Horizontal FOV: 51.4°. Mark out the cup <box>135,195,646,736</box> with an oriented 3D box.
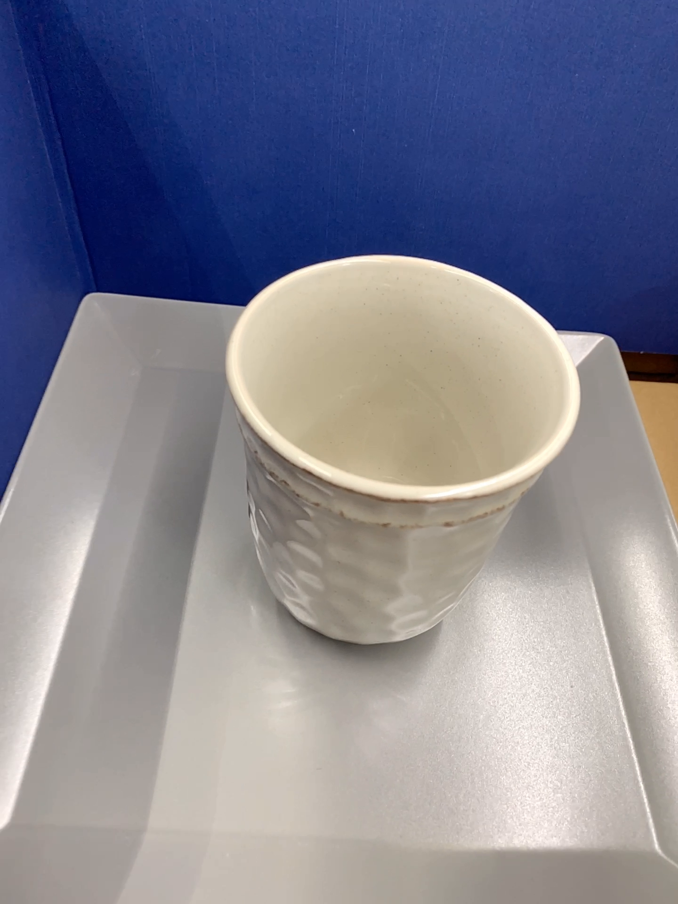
[{"bbox_3d":[0.021,-0.004,0.224,0.101,0.082,0.123,22,50,15],"label":"cup"}]
